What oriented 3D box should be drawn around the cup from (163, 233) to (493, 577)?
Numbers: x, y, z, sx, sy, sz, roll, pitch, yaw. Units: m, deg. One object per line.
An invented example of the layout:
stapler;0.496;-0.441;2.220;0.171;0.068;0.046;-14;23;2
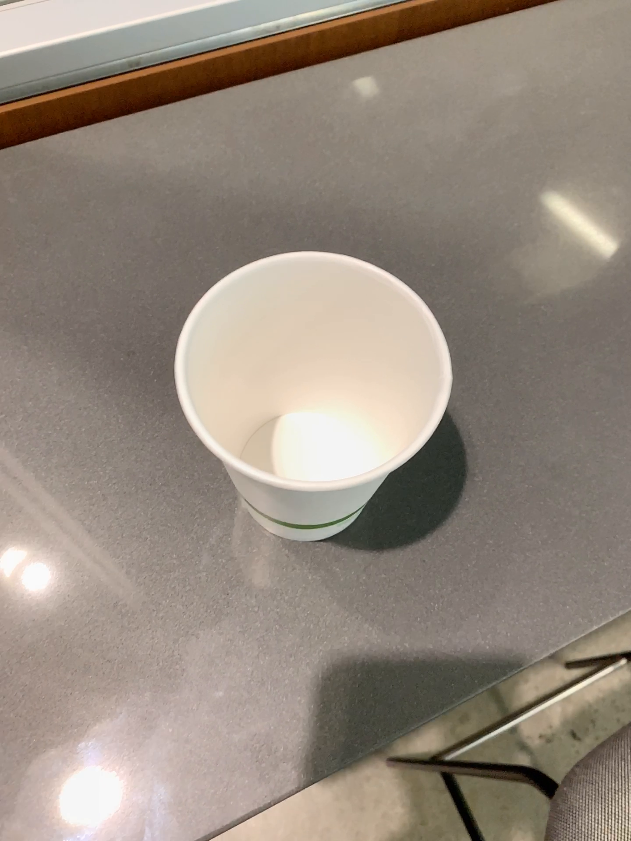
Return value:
cup;0.001;0.000;0.243;0.090;0.100;0.090;1;63;-2
